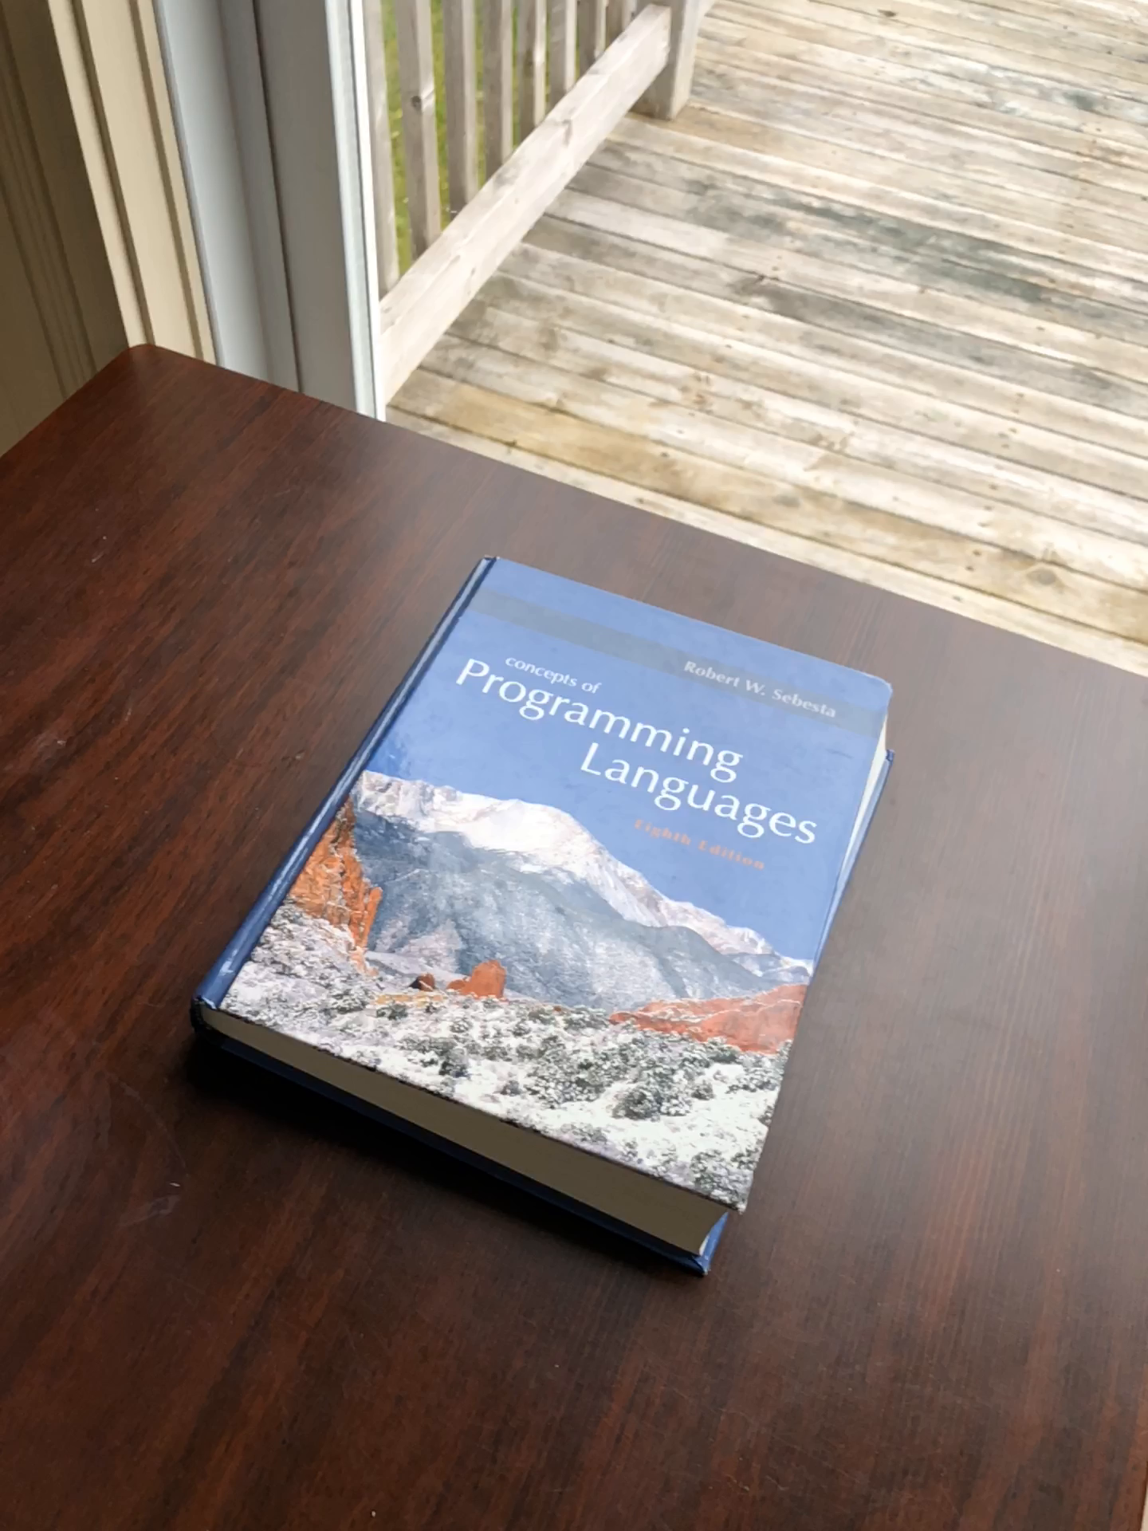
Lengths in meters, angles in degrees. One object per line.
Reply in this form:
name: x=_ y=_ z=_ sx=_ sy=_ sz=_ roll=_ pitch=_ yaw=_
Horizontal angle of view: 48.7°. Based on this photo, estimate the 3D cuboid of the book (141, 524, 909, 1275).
book: x=-0.004 y=0.030 z=0.474 sx=0.195 sy=0.048 sz=0.237 roll=21 pitch=53 yaw=11
